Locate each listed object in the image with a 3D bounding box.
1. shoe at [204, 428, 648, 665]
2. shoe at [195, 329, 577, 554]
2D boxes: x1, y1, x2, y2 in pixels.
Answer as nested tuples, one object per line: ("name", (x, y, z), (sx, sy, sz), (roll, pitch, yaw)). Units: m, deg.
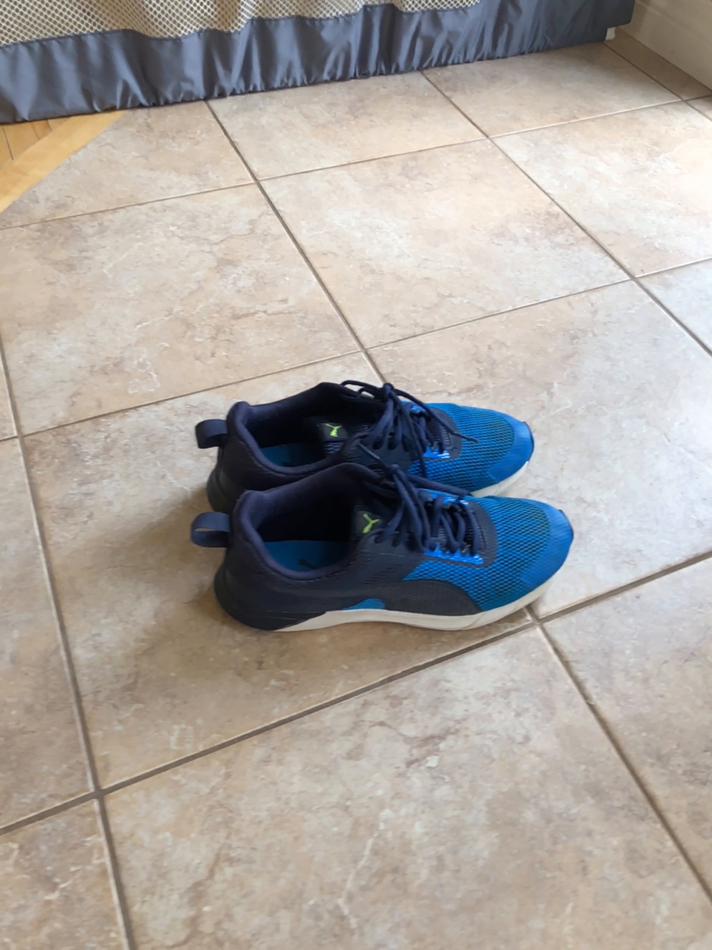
("shoe", (0.041, 0.051, 0.577), (0.290, 0.100, 0.110), (-5, 51, -7))
("shoe", (0.019, -0.030, 0.648), (0.280, 0.100, 0.110), (-8, 51, -10))
